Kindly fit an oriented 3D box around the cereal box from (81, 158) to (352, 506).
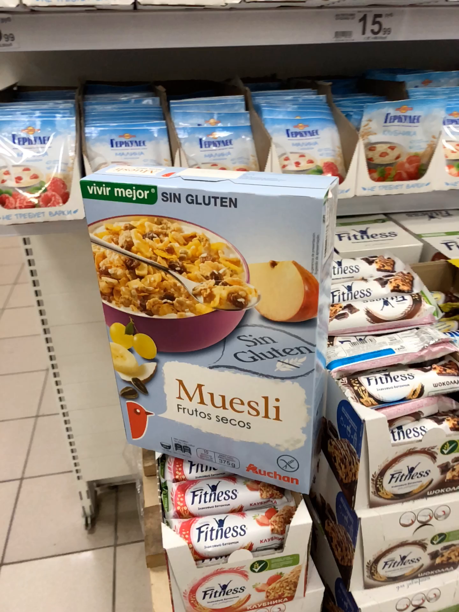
[{"bbox_3d":[-0.009,0.026,0.453,0.200,0.288,0.060,10,30,20],"label":"cereal box"}]
